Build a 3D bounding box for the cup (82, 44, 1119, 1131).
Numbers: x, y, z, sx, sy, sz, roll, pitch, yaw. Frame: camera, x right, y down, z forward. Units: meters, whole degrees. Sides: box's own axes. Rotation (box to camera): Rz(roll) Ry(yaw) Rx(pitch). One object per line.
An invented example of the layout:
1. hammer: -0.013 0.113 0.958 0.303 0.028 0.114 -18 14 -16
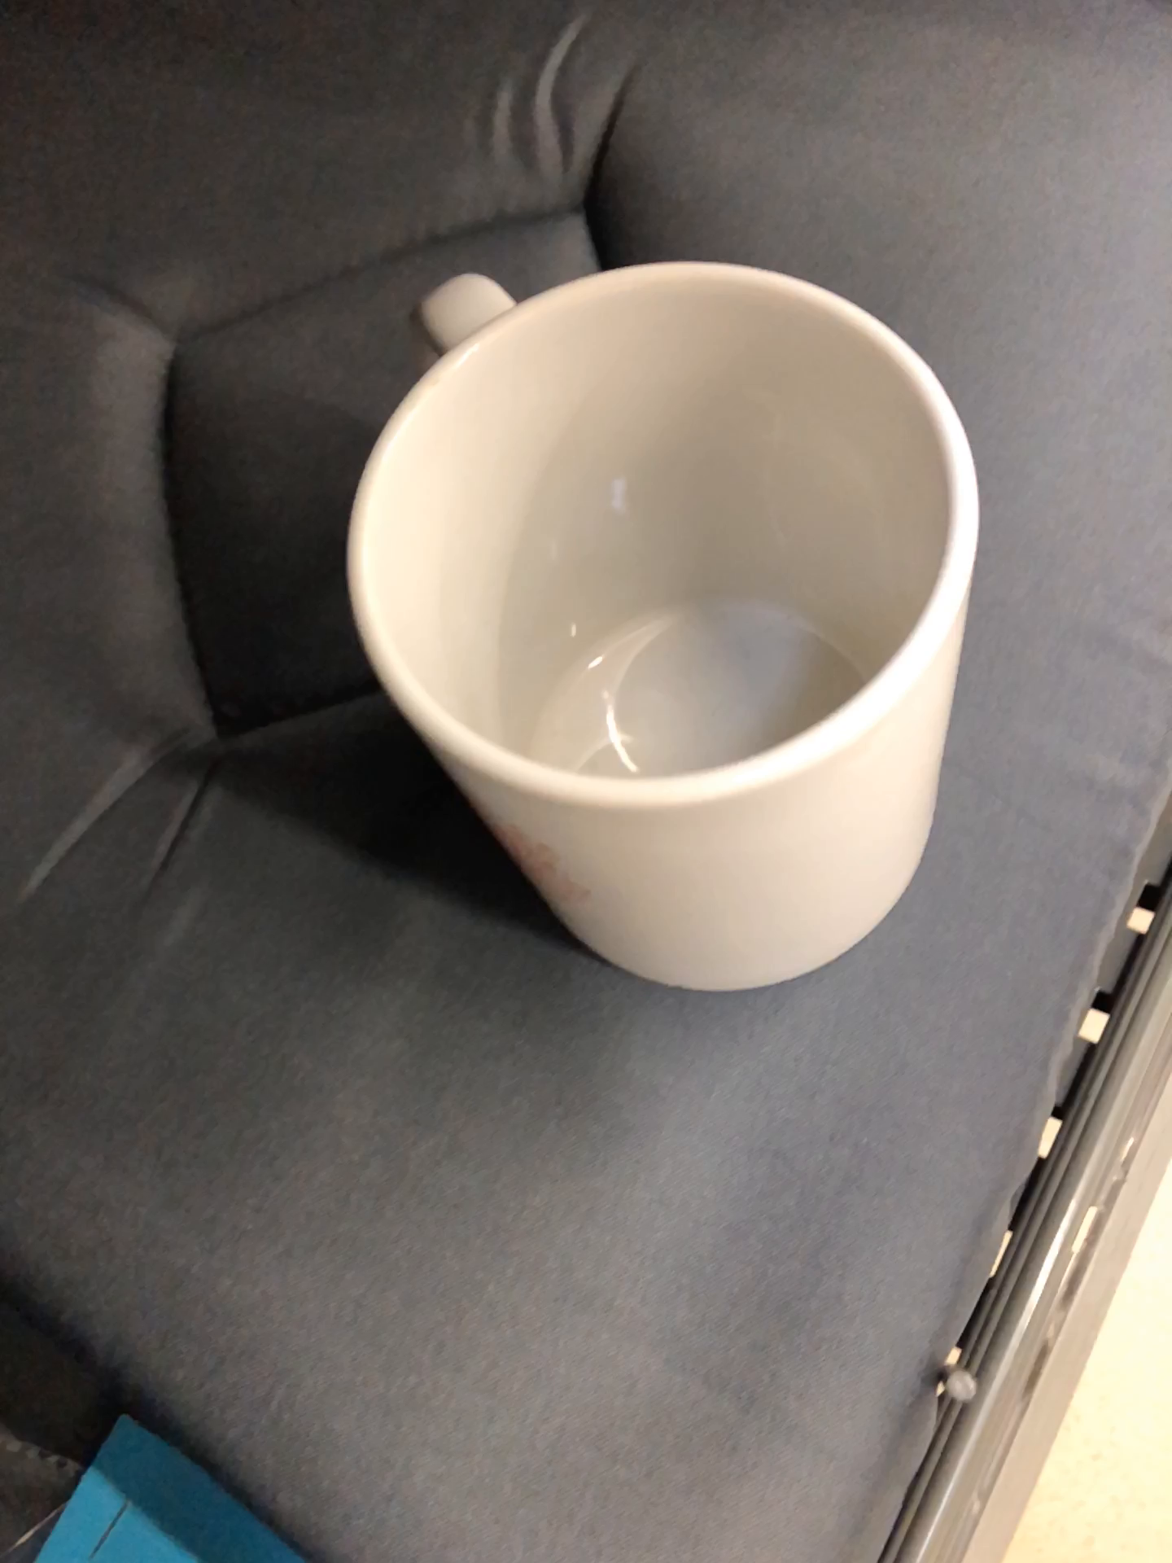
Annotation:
1. cup: 0.002 -0.024 0.218 0.090 0.100 0.120 -32 67 -2
